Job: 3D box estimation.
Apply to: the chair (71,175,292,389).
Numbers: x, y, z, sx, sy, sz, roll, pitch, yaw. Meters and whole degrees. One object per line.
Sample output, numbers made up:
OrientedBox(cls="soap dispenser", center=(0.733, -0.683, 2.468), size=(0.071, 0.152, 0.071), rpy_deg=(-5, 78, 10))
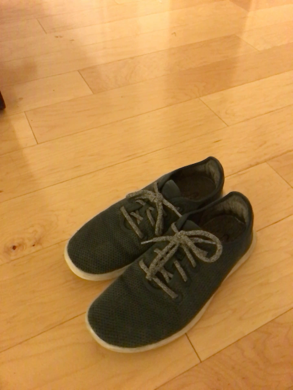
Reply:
OrientedBox(cls="chair", center=(0.059, 0.107, 0.449), size=(0.301, 0.099, 0.110), rpy_deg=(-33, 58, -26))

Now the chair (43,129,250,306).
OrientedBox(cls="chair", center=(0.011, 0.023, 0.509), size=(0.321, 0.099, 0.100), rpy_deg=(-33, 66, -26))
